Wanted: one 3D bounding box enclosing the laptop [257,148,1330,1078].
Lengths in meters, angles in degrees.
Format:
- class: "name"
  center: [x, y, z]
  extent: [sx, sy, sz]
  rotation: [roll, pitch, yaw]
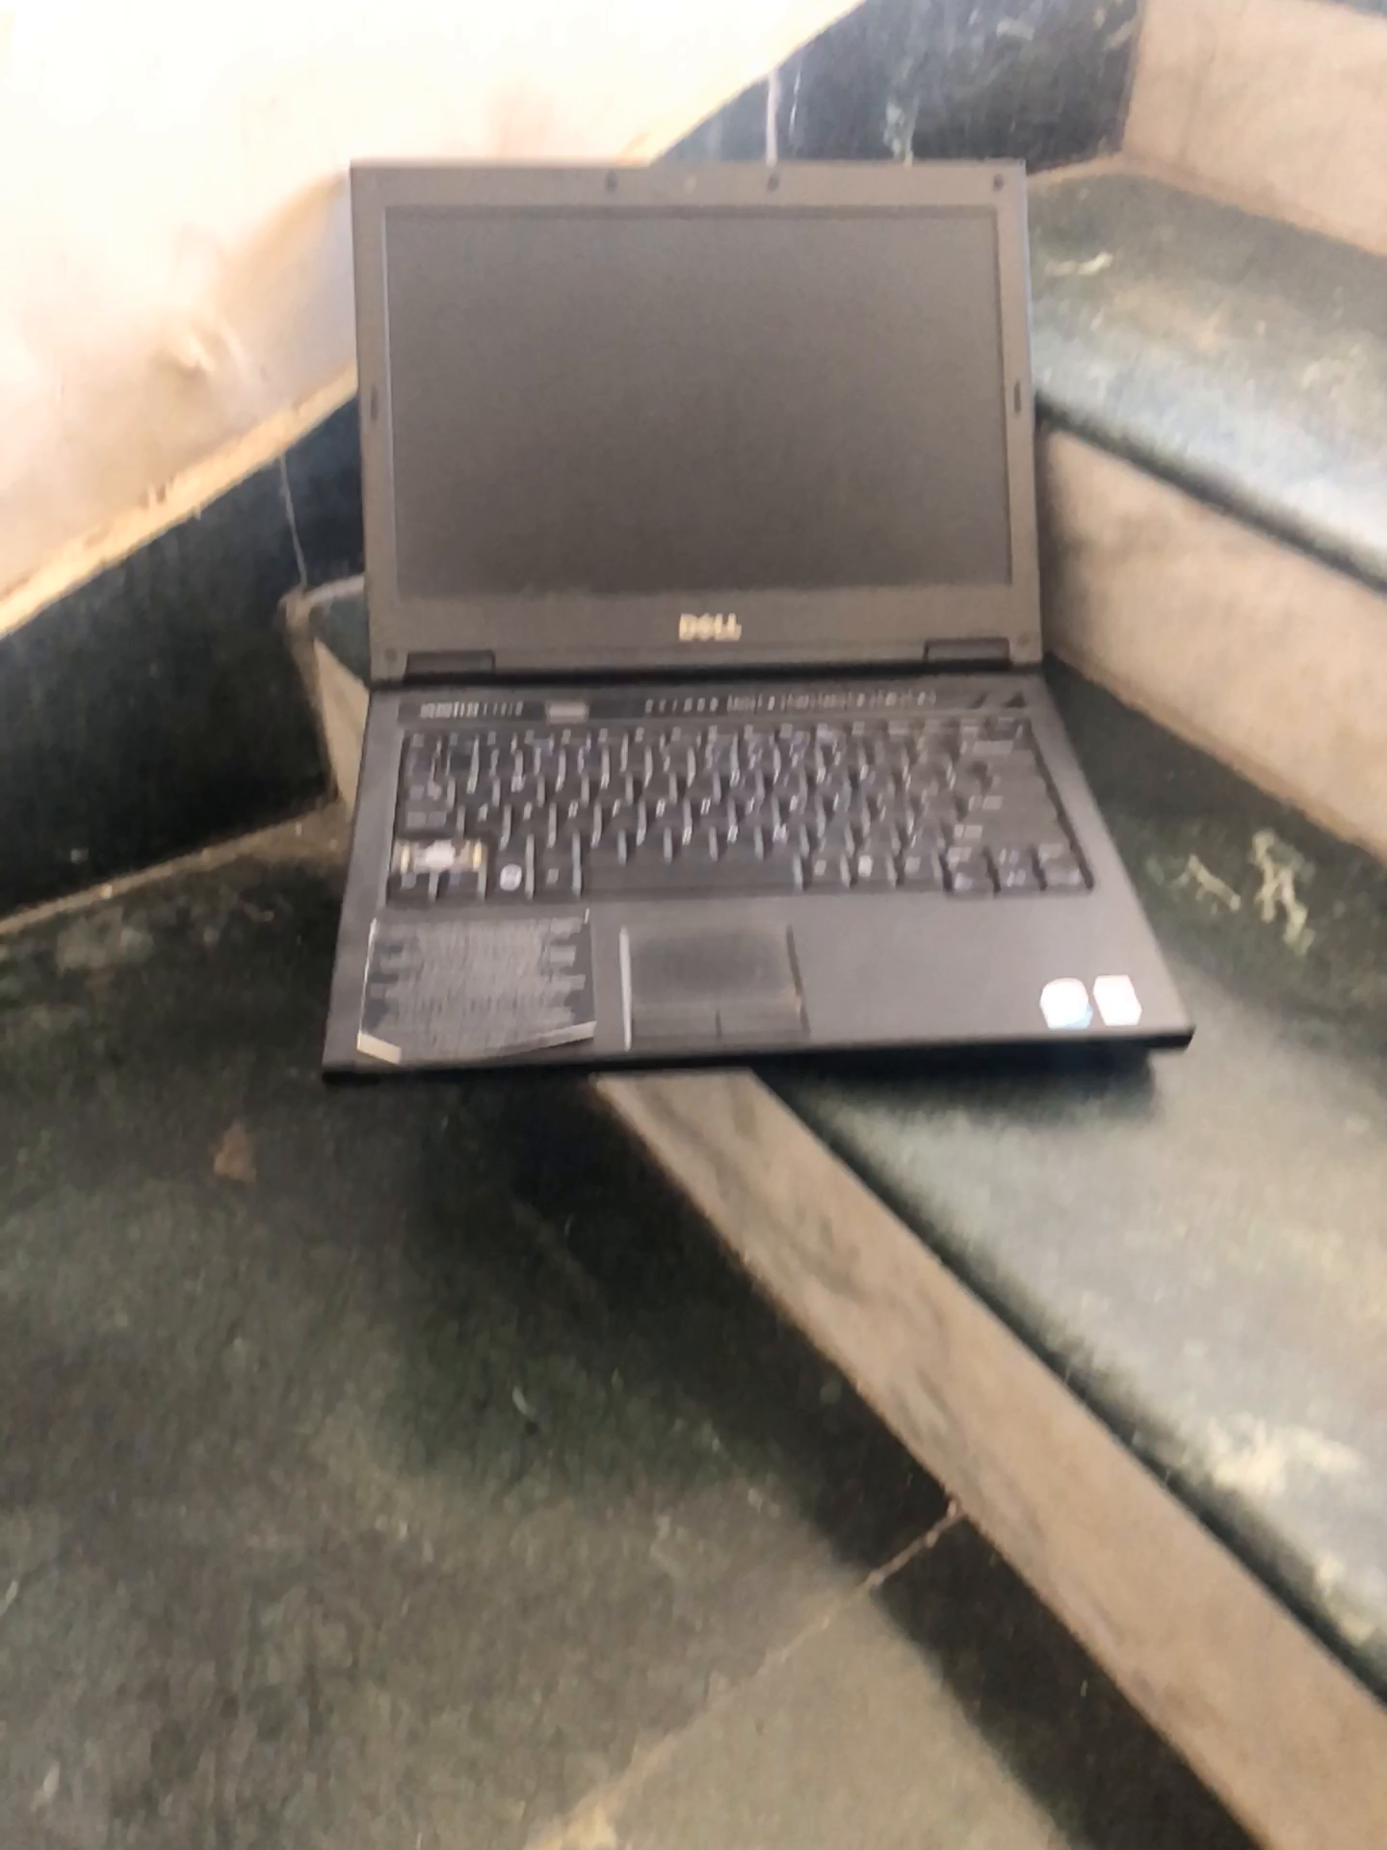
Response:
- class: "laptop"
  center: [0.015, -0.154, 0.617]
  extent: [0.302, 0.169, 0.388]
  rotation: [-1, 45, -4]
